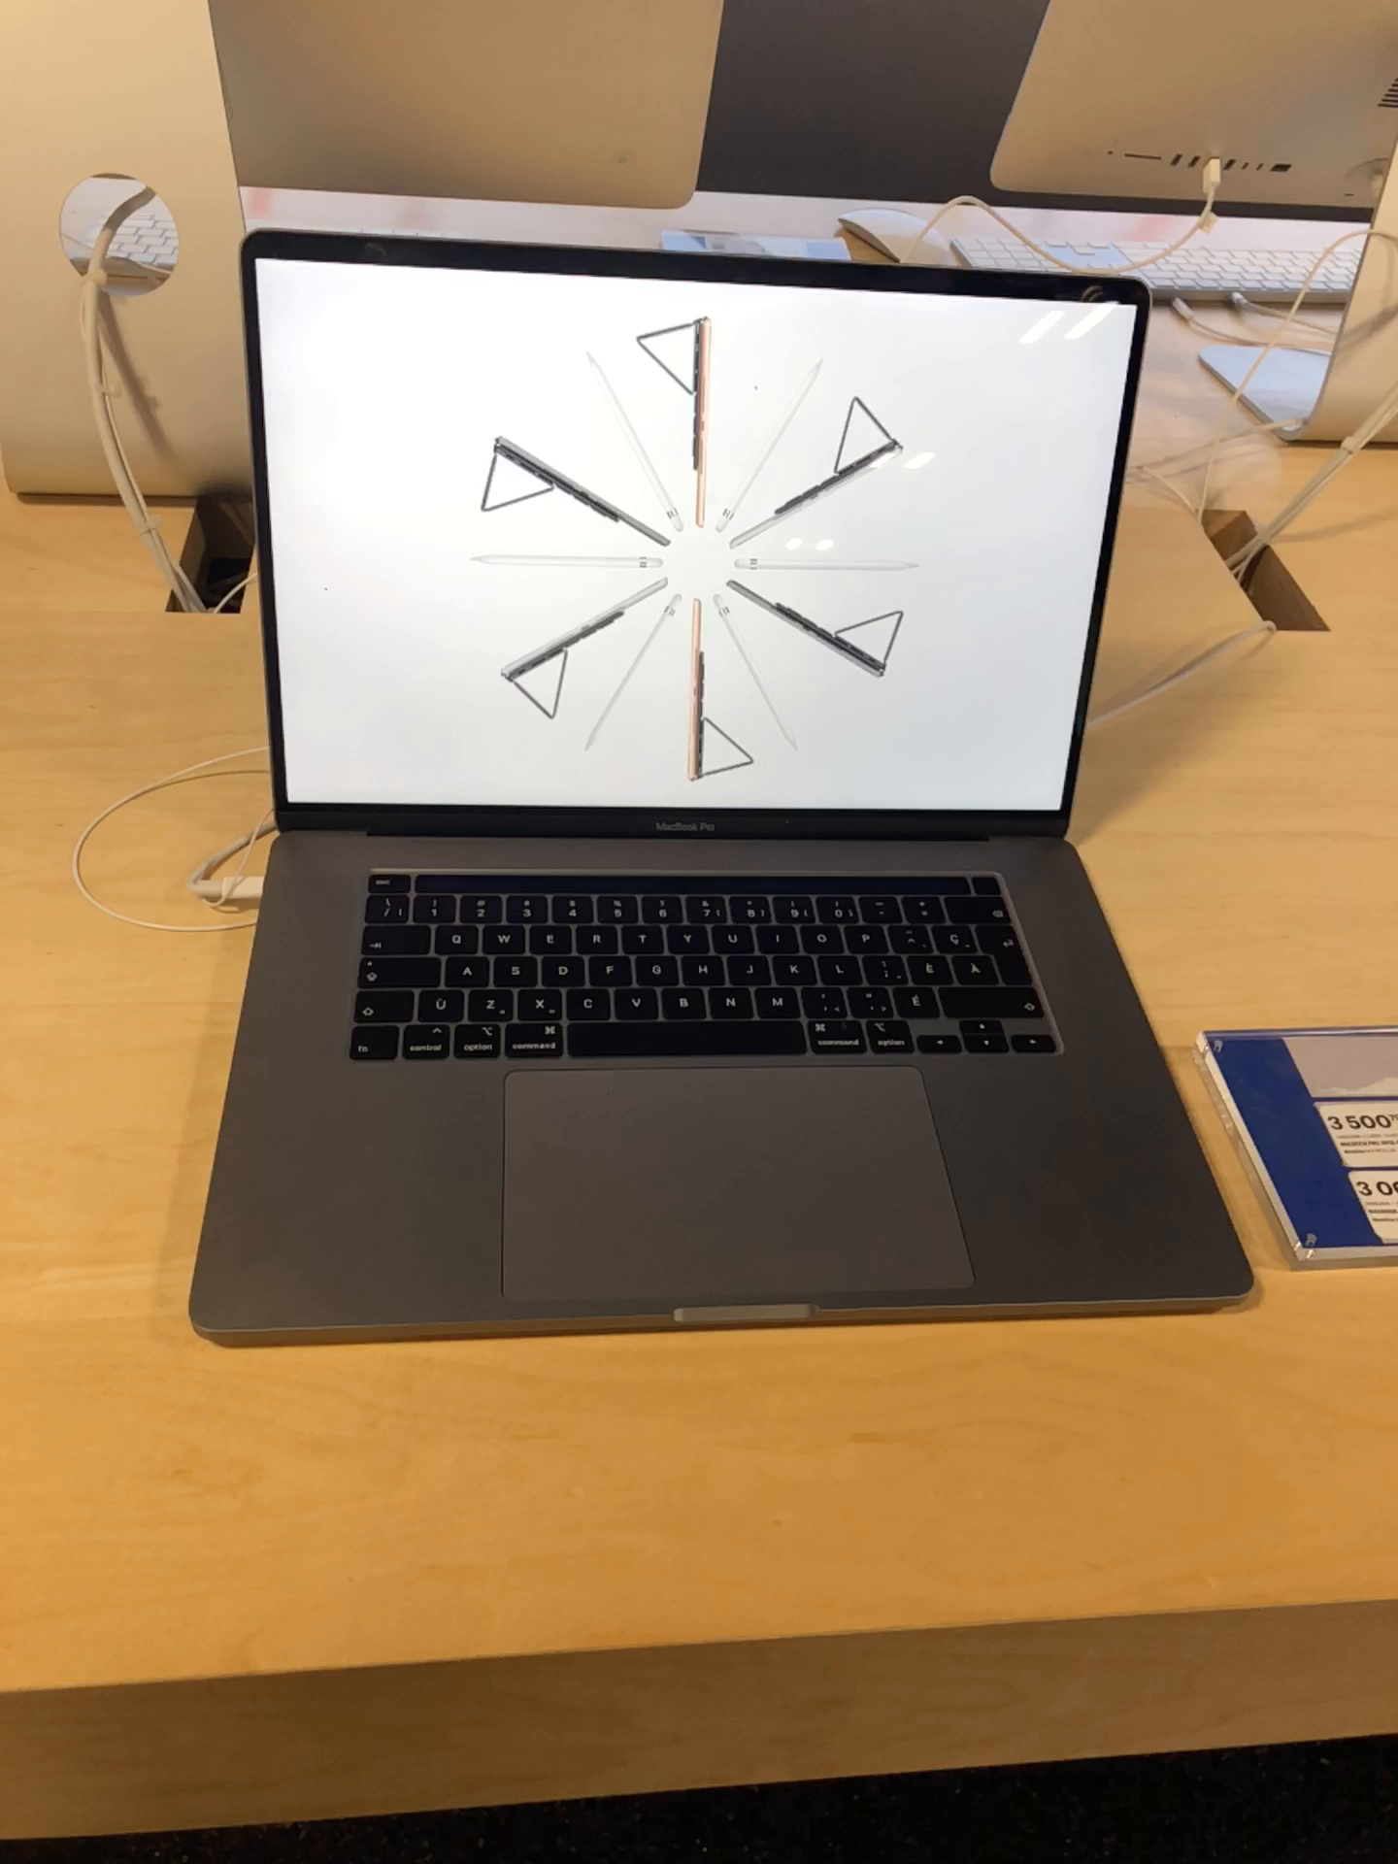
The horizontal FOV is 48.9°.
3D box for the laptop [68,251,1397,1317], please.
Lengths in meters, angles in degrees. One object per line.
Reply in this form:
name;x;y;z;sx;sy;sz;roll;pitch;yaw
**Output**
laptop;0.010;-0.064;0.558;0.352;0.230;0.316;0;42;-7
